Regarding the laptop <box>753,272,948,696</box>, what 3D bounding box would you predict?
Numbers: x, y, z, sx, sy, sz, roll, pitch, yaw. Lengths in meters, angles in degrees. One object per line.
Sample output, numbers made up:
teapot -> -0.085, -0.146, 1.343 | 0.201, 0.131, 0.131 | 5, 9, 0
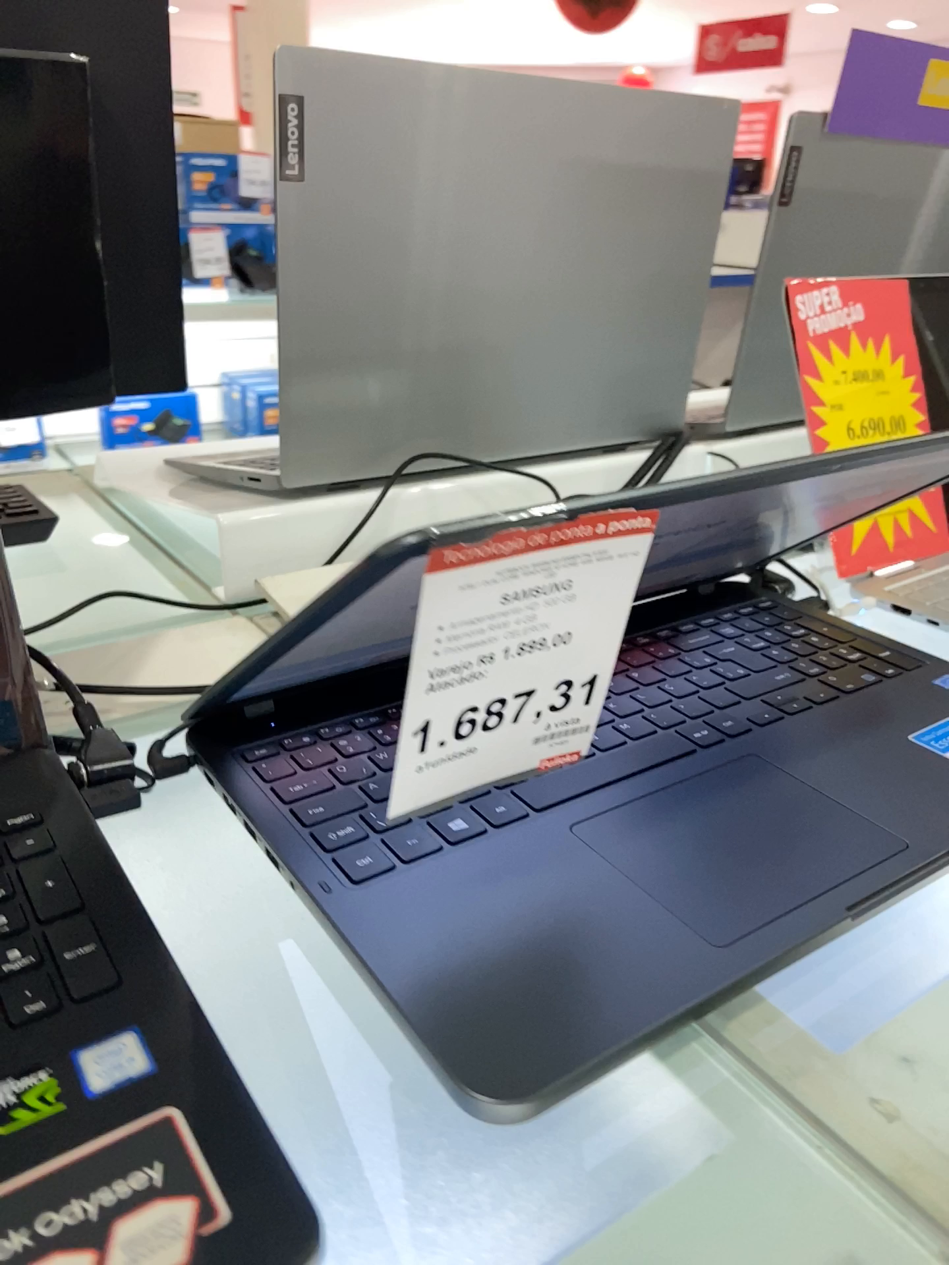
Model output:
laptop -> 0.411, -0.138, 0.662 | 0.316, 0.177, 0.297 | -14, 28, -33

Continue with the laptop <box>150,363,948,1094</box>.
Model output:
laptop -> 0.089, -0.019, 0.420 | 0.368, 0.140, 0.235 | -14, 27, -33

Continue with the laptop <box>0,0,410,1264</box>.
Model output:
laptop -> -0.307, 0.004, 0.208 | 0.394, 0.223, 0.372 | -14, 27, -36
